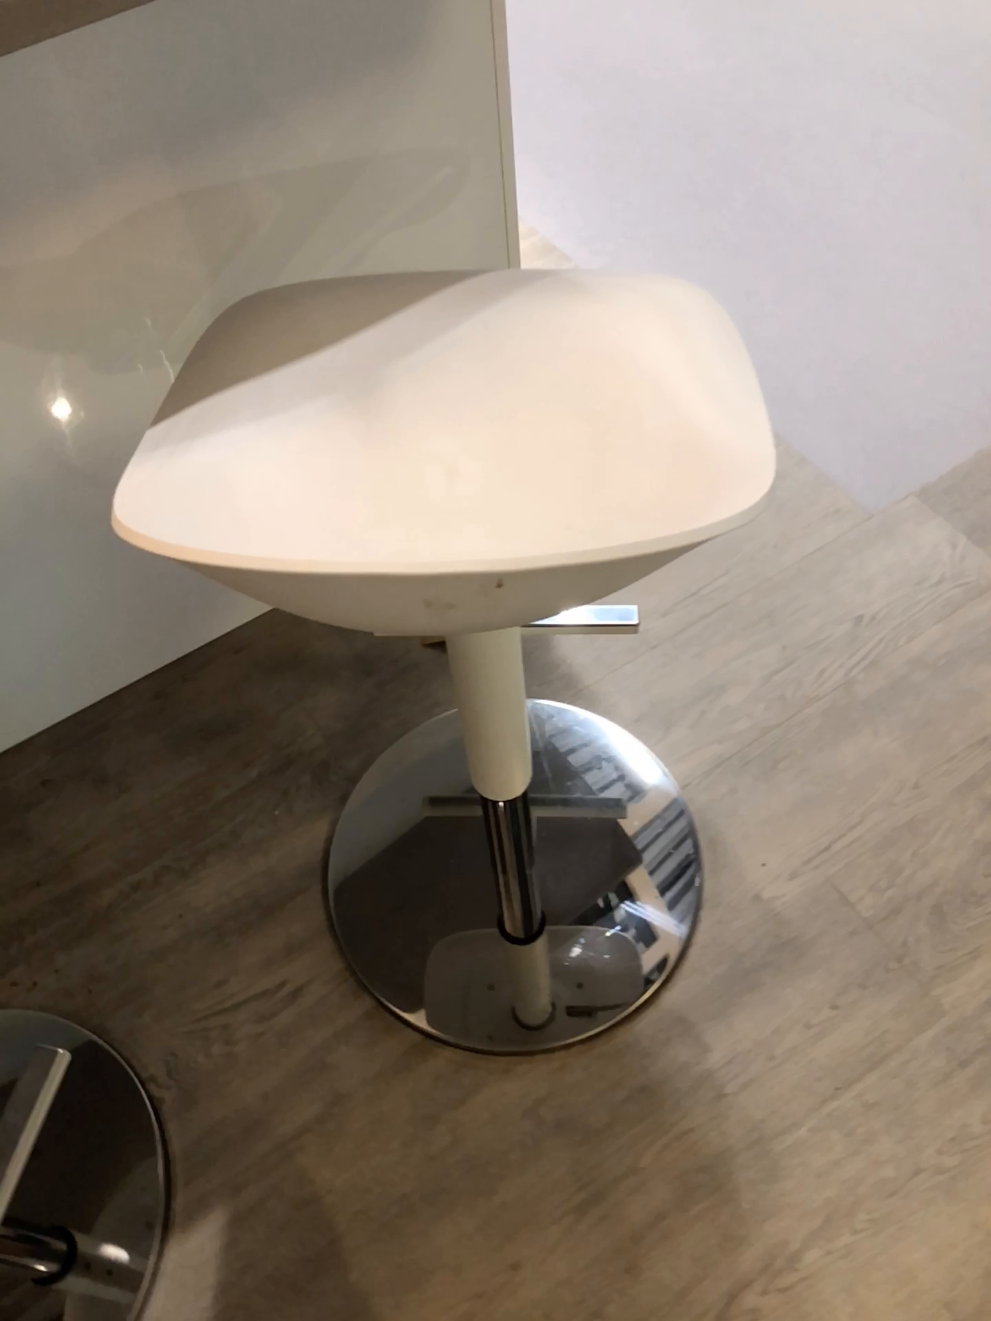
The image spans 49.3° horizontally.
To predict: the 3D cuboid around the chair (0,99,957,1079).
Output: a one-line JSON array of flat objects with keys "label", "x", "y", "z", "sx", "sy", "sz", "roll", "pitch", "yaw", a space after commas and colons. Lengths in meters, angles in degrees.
[{"label": "chair", "x": -0.002, "y": 0.024, "z": 0.892, "sx": 0.440, "sy": 0.716, "sz": 0.442, "roll": -3, "pitch": 56, "yaw": 3}]
